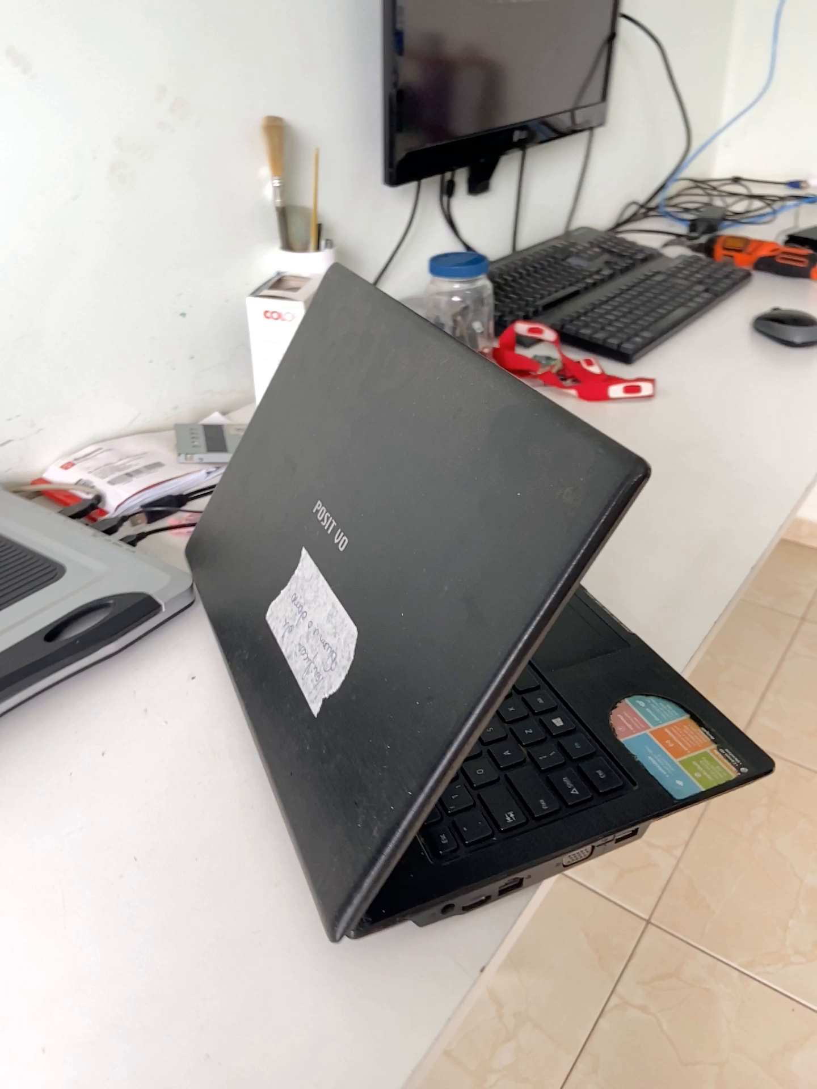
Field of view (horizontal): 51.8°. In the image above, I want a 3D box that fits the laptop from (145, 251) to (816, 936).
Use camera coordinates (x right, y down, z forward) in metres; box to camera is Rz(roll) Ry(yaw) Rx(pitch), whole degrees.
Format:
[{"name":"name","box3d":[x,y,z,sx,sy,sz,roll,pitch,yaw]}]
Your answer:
[{"name":"laptop","box3d":[0.014,-0.022,0.472,0.233,0.189,0.331,-13,34,-20]}]
